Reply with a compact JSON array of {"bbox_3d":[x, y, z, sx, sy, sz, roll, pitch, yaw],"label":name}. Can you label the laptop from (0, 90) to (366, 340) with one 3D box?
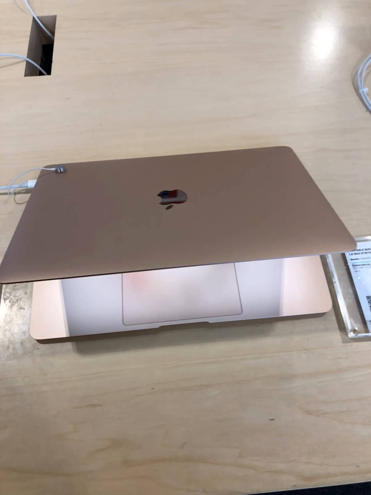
[{"bbox_3d":[-0.009,-0.036,0.405,0.288,0.093,0.203,-5,61,-2],"label":"laptop"}]
